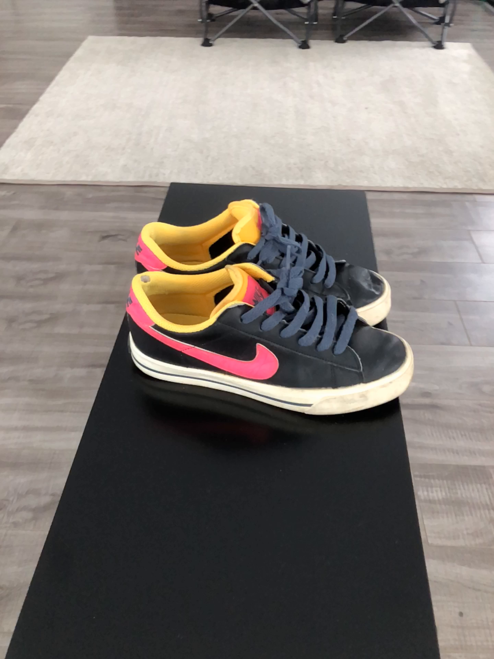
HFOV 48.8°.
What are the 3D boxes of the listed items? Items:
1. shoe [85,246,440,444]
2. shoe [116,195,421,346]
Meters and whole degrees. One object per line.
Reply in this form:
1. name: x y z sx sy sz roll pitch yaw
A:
1. shoe: 0.013 0.011 0.441 0.244 0.100 0.096 5 47 6
2. shoe: 0.018 -0.054 0.503 0.244 0.100 0.090 1 47 1
